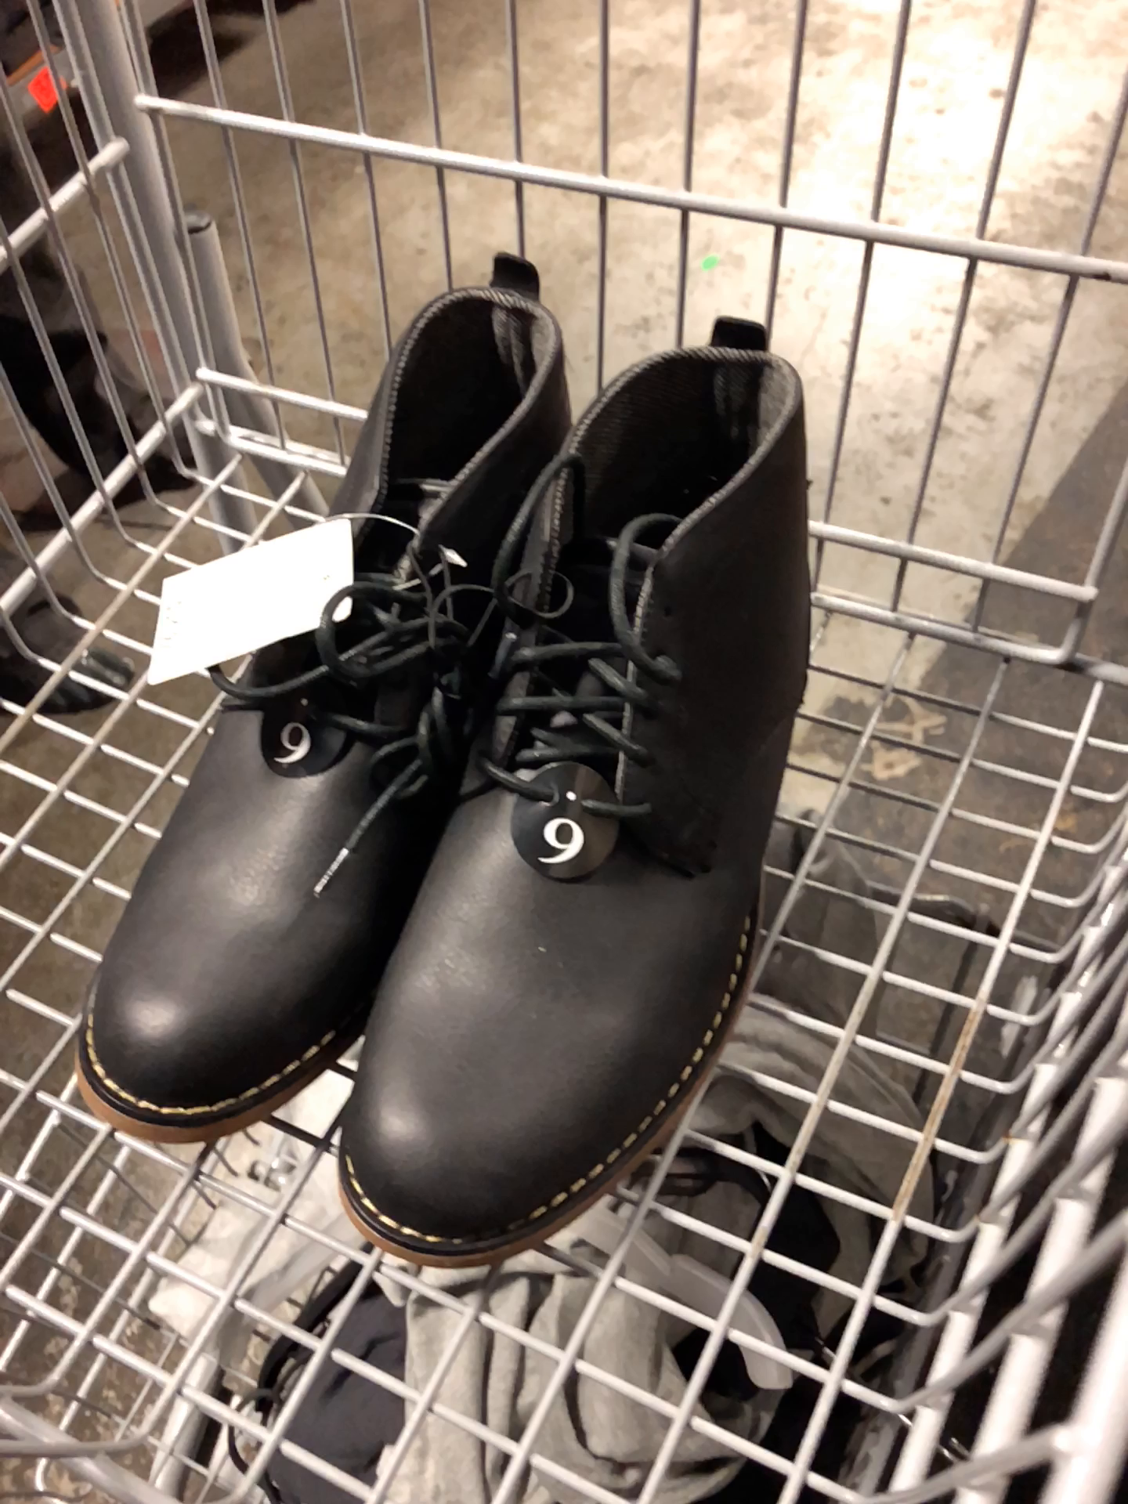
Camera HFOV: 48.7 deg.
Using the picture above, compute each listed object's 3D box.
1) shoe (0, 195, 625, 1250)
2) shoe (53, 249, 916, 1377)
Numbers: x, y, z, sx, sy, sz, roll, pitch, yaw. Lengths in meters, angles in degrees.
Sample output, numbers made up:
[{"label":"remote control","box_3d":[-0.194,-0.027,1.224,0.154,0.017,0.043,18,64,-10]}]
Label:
[{"label":"shoe","box_3d":[-0.084,-0.007,0.405,0.100,0.199,0.261,19,61,18]},{"label":"shoe","box_3d":[0.007,0.021,0.386,0.100,0.199,0.271,19,61,18]}]
